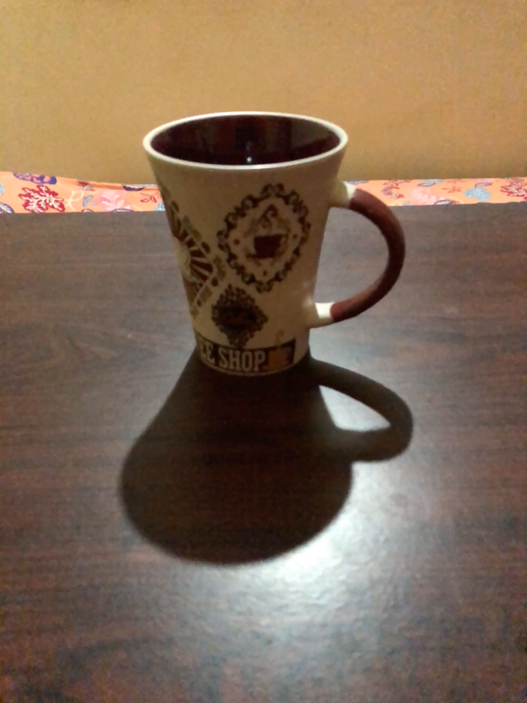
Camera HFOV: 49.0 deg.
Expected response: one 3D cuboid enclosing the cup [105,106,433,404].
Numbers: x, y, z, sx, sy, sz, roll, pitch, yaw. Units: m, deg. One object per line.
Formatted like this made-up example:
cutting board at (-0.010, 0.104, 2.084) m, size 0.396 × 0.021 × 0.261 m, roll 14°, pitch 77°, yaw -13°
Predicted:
cup at (0.010, -0.055, 0.284) m, size 0.120 × 0.099 × 0.101 m, roll 9°, pitch 35°, yaw 16°
